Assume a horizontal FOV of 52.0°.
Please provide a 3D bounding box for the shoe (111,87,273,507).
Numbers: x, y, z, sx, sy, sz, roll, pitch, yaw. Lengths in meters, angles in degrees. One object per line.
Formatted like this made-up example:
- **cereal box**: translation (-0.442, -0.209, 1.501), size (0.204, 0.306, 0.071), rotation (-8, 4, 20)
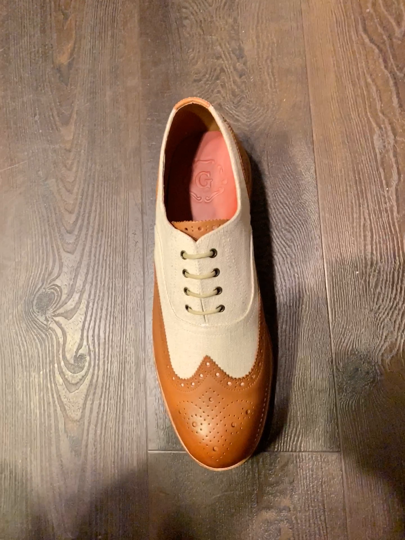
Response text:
- **shoe**: translation (0.000, 0.018, 0.364), size (0.110, 0.120, 0.300), rotation (-2, 81, 11)
